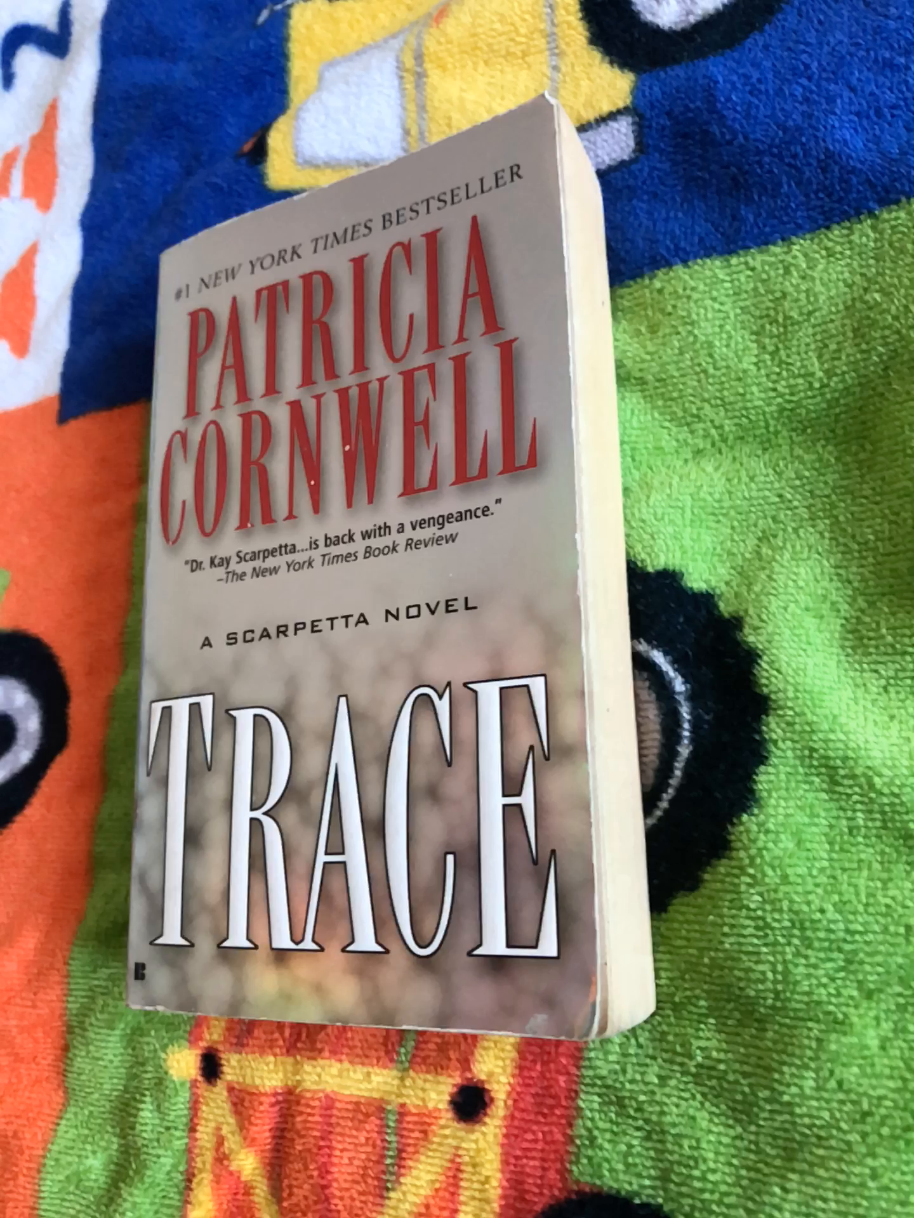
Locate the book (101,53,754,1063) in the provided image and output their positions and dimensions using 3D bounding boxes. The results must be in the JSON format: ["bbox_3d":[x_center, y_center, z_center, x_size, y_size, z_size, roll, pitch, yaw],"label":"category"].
[{"bbox_3d":[-0.010,-0.008,0.218,0.120,0.040,0.180,-8,74,25],"label":"book"}]
